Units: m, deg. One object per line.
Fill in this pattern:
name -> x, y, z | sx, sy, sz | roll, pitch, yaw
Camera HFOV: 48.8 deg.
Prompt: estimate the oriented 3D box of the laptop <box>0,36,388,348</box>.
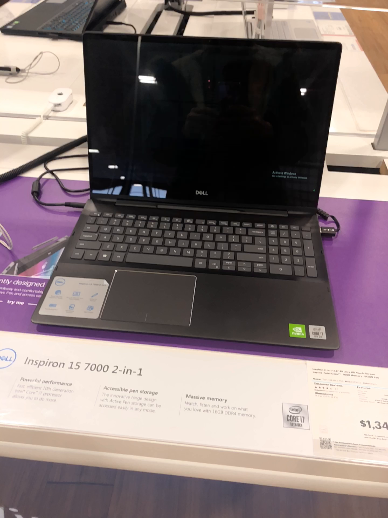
laptop -> 0.004, -0.103, 0.524 | 0.340, 0.207, 0.325 | 4, 43, 4
